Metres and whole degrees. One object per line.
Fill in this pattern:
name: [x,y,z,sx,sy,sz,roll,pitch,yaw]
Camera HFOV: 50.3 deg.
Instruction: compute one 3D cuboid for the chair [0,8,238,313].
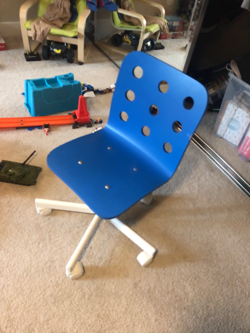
chair: [-0.109,-0.001,0.826,0.521,0.704,0.362,35,49,23]
